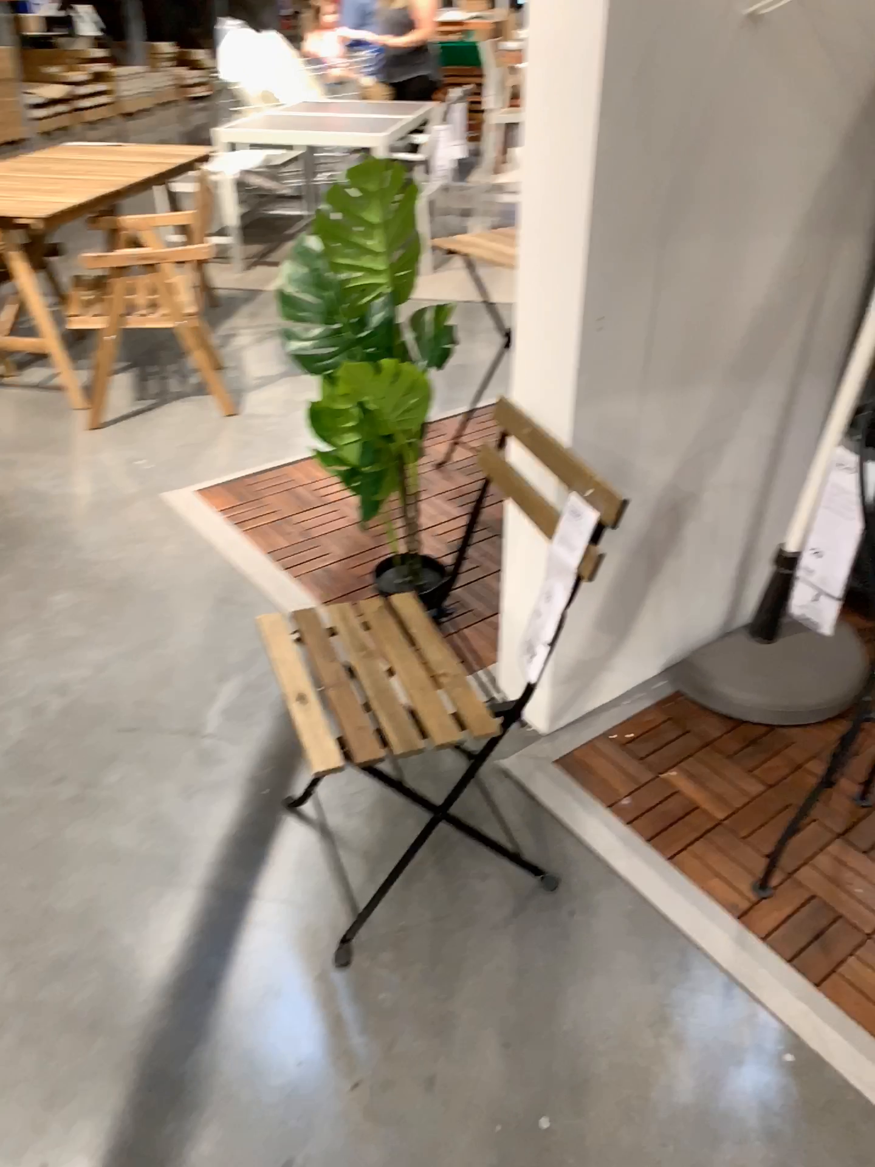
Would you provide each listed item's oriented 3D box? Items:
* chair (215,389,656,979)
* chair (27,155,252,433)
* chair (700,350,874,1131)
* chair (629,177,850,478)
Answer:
[{"bbox_3d":[-0.028,0.143,1.381,0.476,0.721,0.410,-11,35,-17],"label":"chair"},{"bbox_3d":[-1.062,-1.089,3.305,0.606,0.811,0.641,-8,34,-12],"label":"chair"},{"bbox_3d":[0.786,0.190,1.242,0.399,0.821,0.558,-21,39,-30],"label":"chair"},{"bbox_3d":[0.950,-0.849,2.941,0.506,0.811,0.501,7,33,11],"label":"chair"}]
